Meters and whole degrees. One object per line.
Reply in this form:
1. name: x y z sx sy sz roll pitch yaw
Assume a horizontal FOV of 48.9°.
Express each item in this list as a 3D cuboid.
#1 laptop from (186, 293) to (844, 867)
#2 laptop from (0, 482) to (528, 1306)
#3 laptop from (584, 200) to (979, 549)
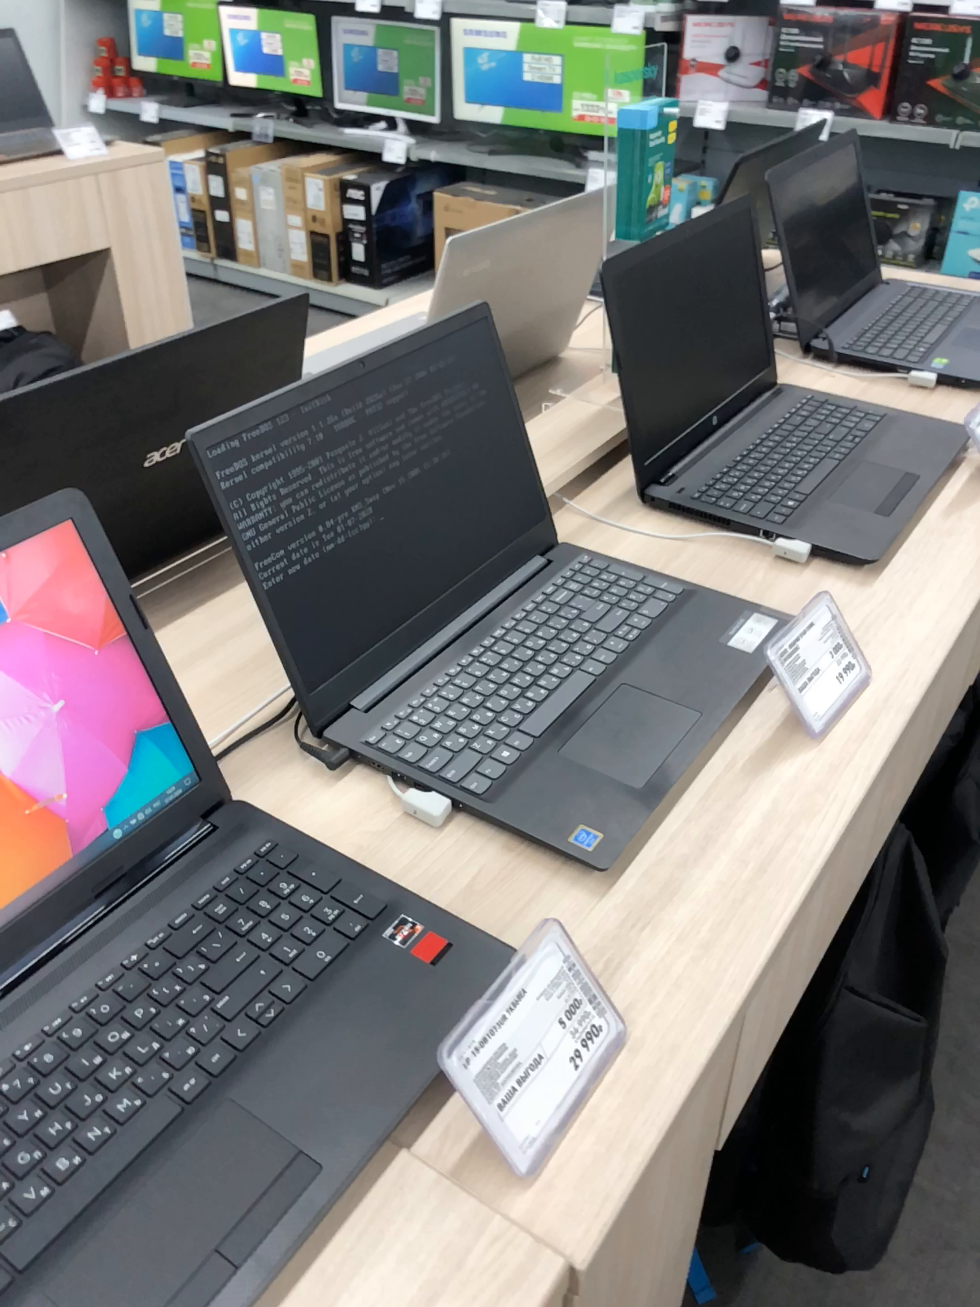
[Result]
1. laptop: 0.030 -0.089 0.805 0.322 0.210 0.341 22 40 26
2. laptop: -0.210 0.121 0.498 0.320 0.202 0.352 22 40 27
3. laptop: 0.322 -0.307 1.114 0.297 0.208 0.338 21 39 26
